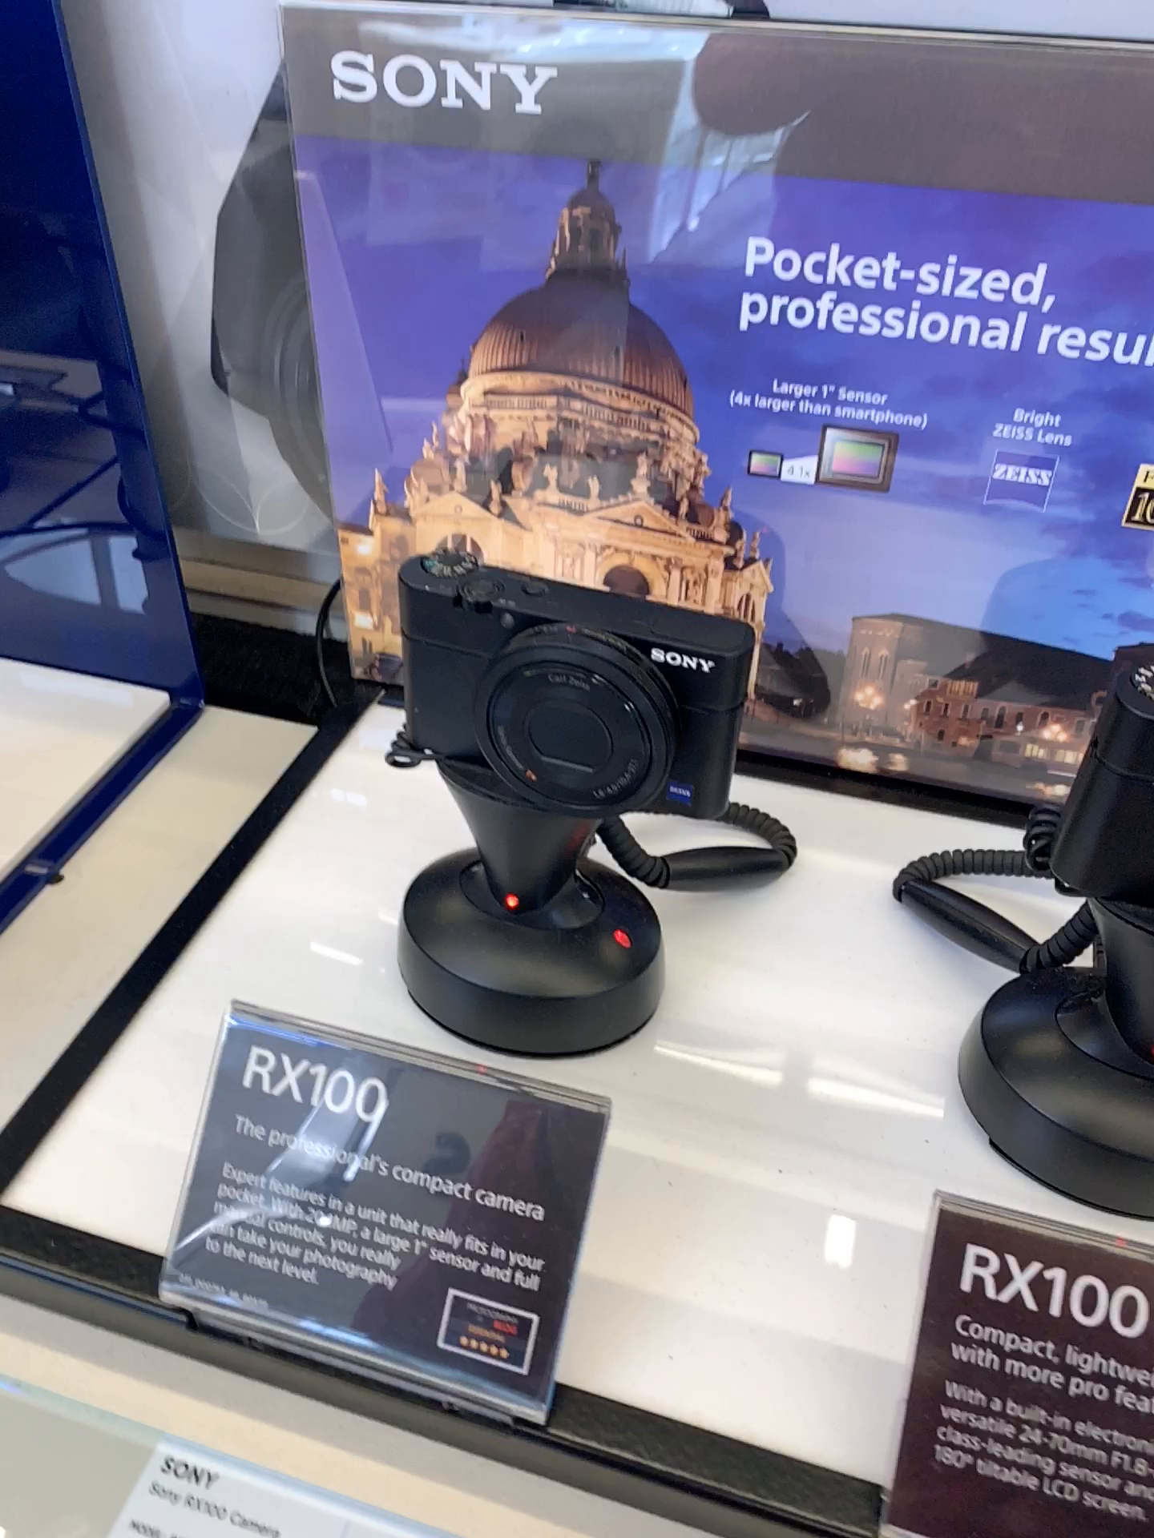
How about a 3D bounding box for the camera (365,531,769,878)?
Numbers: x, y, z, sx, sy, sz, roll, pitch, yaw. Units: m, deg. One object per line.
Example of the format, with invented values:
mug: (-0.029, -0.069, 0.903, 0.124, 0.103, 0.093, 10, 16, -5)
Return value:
camera: (-0.003, -0.019, 0.338, 0.100, 0.069, 0.040, 12, 39, 14)
